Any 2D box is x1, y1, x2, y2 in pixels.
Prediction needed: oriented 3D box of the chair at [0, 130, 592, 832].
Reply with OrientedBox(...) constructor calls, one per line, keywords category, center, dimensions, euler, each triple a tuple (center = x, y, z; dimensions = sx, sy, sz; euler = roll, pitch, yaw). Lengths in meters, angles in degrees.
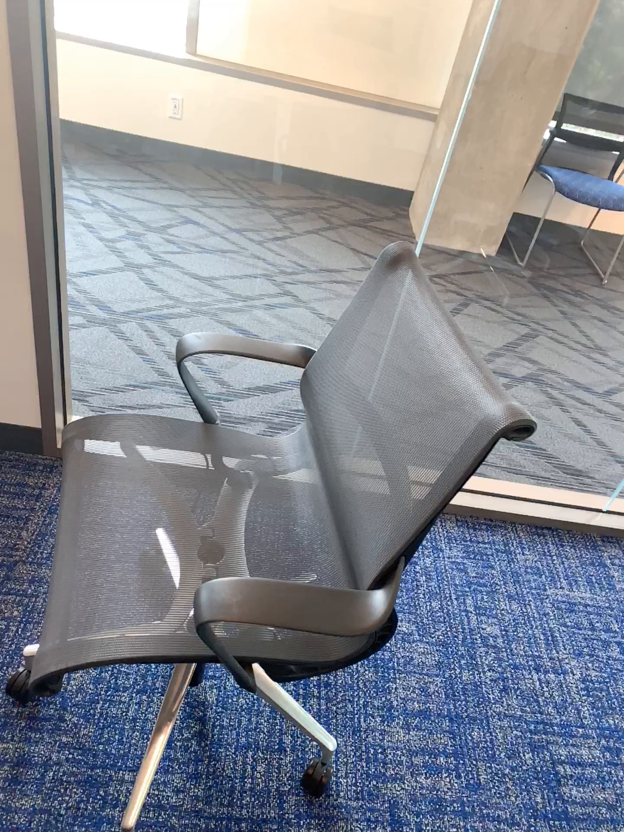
OrientedBox(category="chair", center=(-0.215, 0.137, 0.927), dimensions=(0.640, 0.773, 0.666), euler=(1, 39, -16))
